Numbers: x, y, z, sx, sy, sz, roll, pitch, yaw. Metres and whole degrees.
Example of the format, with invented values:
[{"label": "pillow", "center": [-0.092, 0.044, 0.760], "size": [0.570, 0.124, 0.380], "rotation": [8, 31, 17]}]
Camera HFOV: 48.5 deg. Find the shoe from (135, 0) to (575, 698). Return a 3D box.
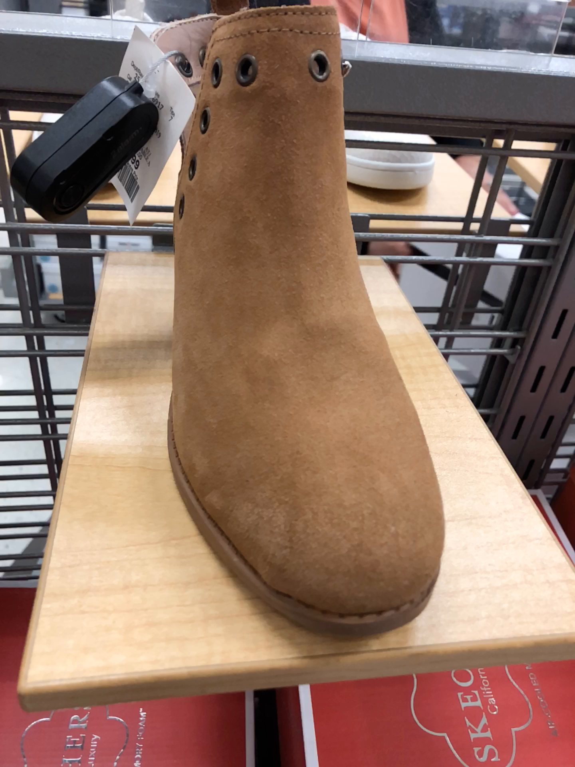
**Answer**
[{"label": "shoe", "center": [-0.005, -0.060, 0.242], "size": [0.092, 0.129, 0.282], "rotation": [-3, 37, -13]}]
